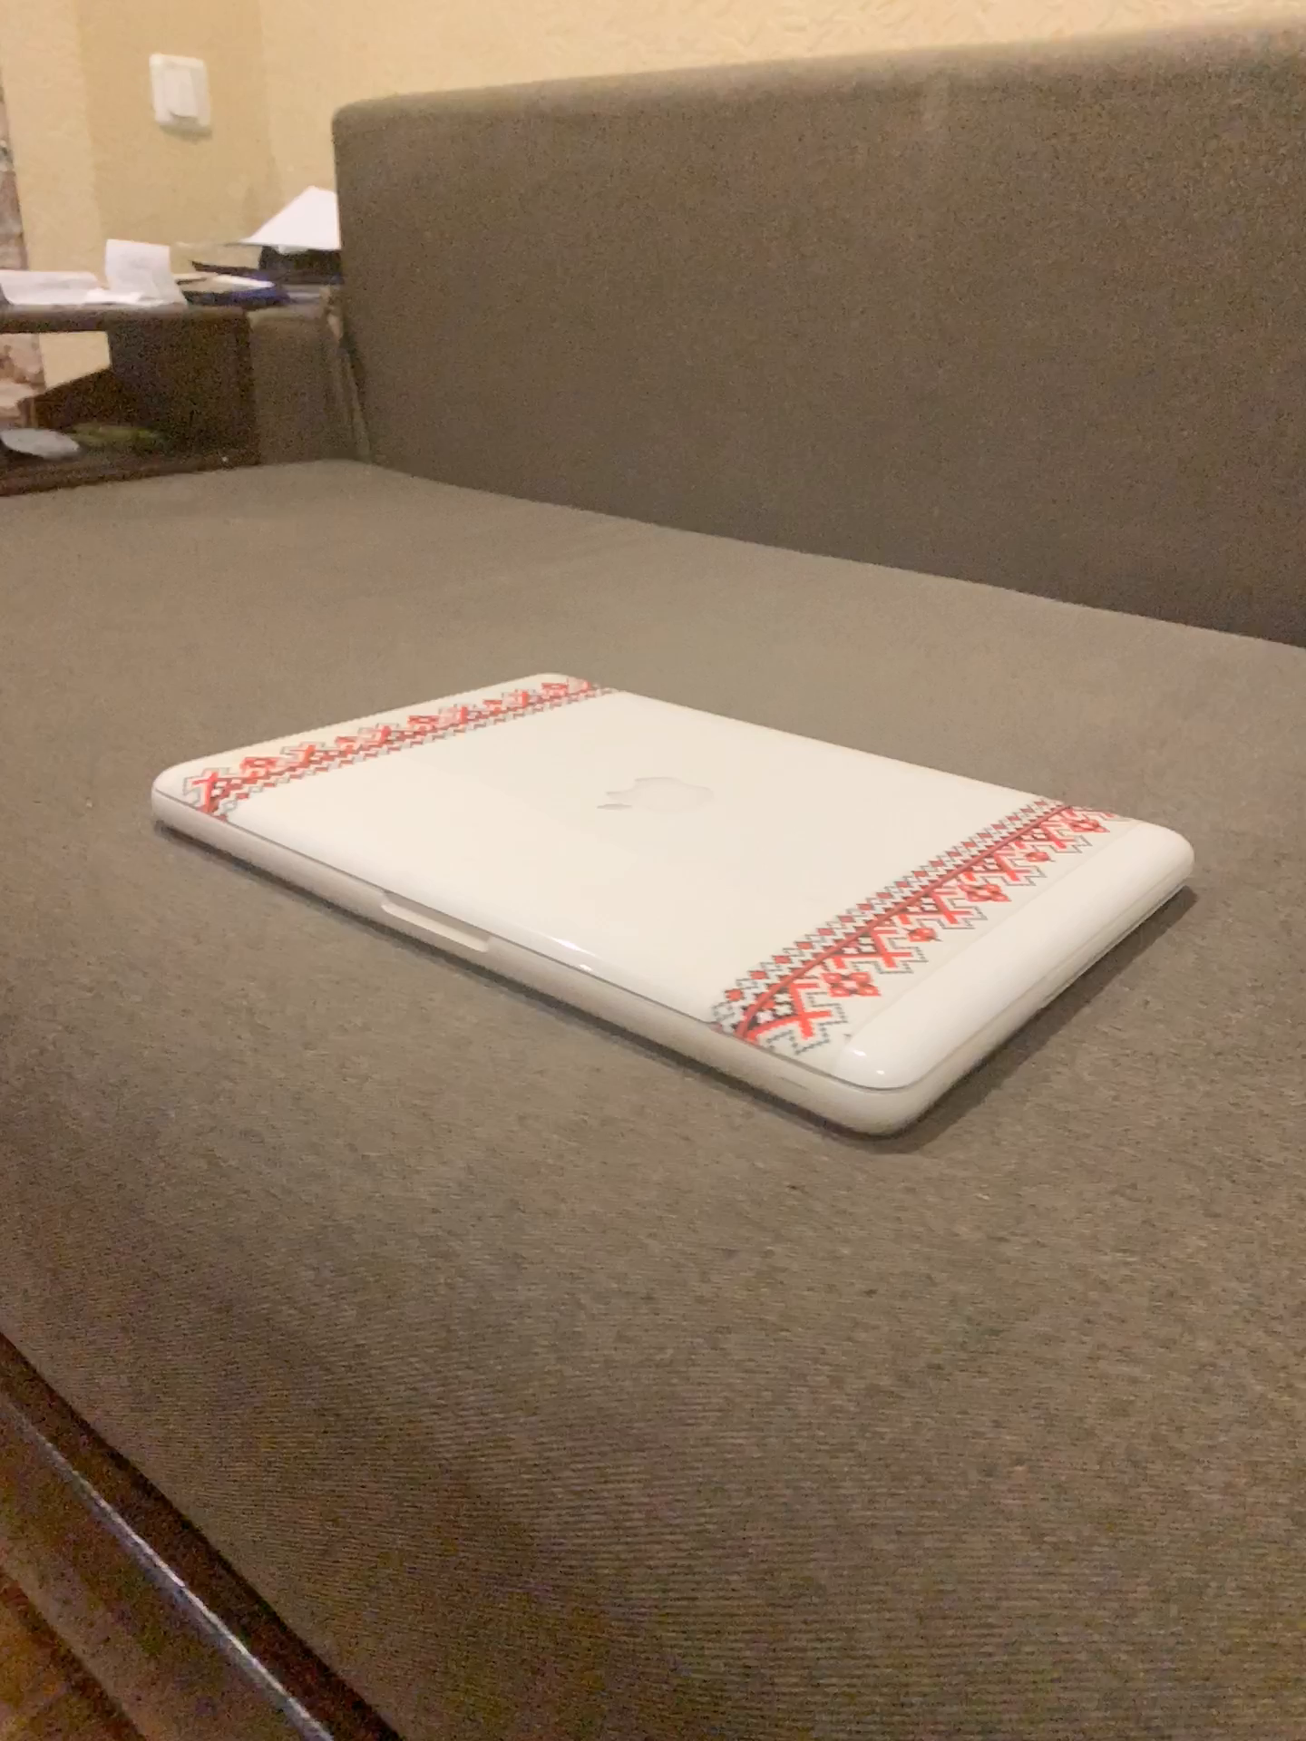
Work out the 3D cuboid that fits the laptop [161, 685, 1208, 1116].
[{"bbox_3d":[0.008,-0.015,0.513,0.325,0.003,0.222,19,29,34],"label":"laptop"}]
